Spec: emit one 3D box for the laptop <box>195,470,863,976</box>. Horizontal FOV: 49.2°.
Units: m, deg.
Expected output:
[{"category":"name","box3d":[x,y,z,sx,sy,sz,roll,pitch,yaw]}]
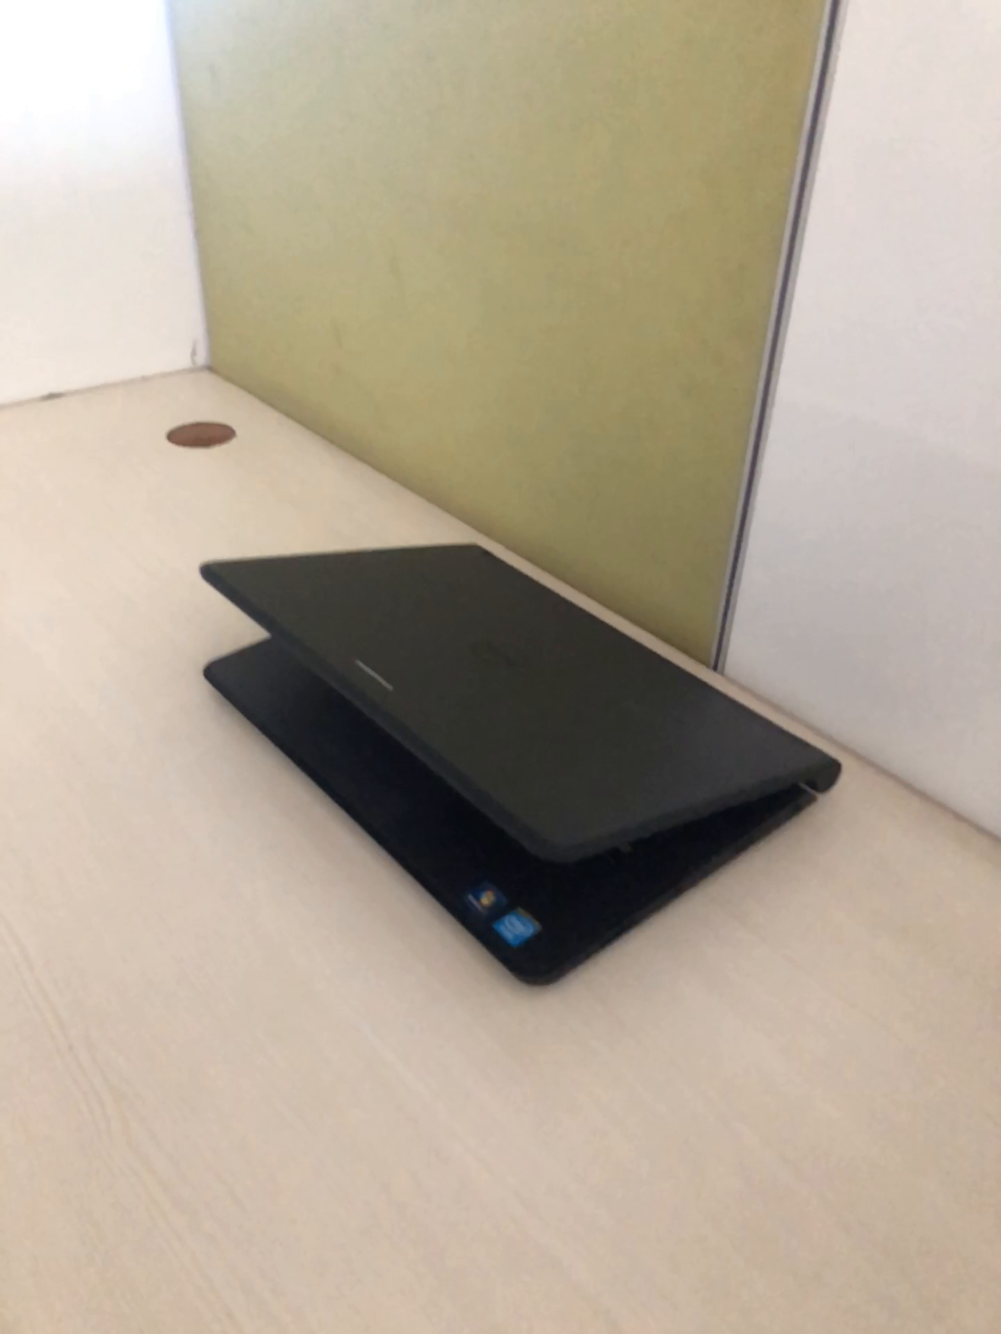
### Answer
[{"category":"laptop","box3d":[0.003,0.000,0.646,0.229,0.072,0.323,-24,42,-33]}]
